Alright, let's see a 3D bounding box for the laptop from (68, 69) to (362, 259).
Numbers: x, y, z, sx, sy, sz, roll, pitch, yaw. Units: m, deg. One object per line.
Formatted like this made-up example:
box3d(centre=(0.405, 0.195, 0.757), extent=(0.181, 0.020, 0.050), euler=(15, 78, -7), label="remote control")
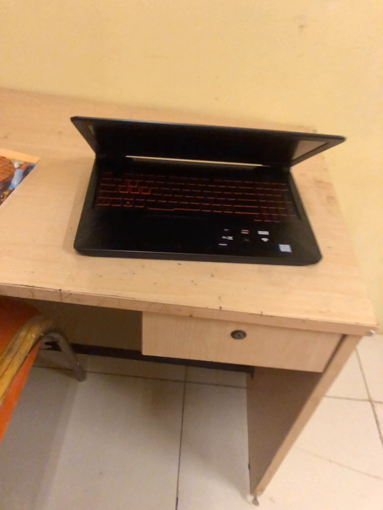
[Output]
box3d(centre=(0.020, -0.150, 0.675), extent=(0.370, 0.173, 0.253), euler=(3, 43, -5), label="laptop")
